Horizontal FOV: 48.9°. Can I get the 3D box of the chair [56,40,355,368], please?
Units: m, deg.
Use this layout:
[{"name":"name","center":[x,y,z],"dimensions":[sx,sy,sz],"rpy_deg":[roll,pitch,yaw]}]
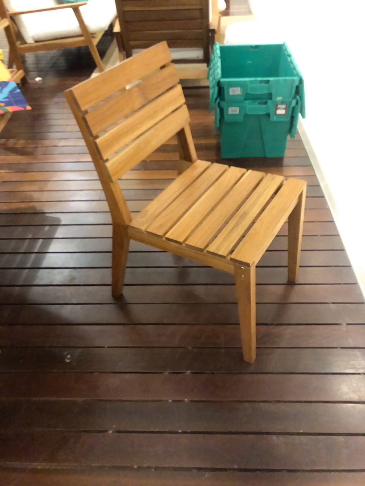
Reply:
[{"name":"chair","center":[0.084,-0.128,1.259],"dimensions":[0.601,0.764,0.463],"rpy_deg":[20,47,24]}]
